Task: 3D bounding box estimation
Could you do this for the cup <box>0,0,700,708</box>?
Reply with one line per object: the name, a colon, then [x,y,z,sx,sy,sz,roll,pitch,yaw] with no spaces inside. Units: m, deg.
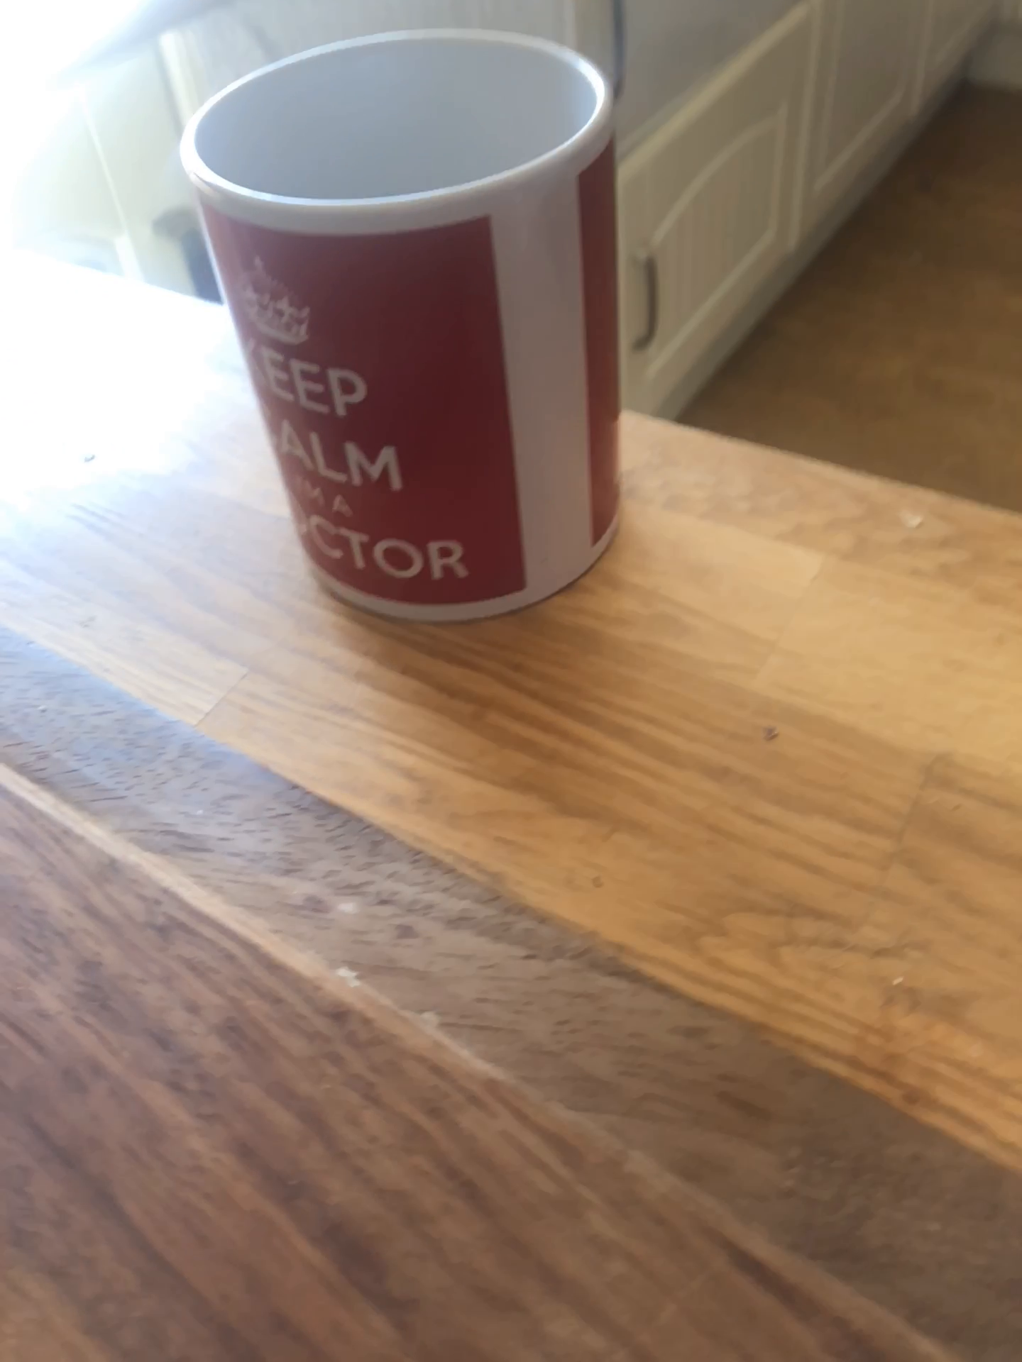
cup: [-0.034,-0.080,0.258,0.123,0.094,0.089,31,60,30]
